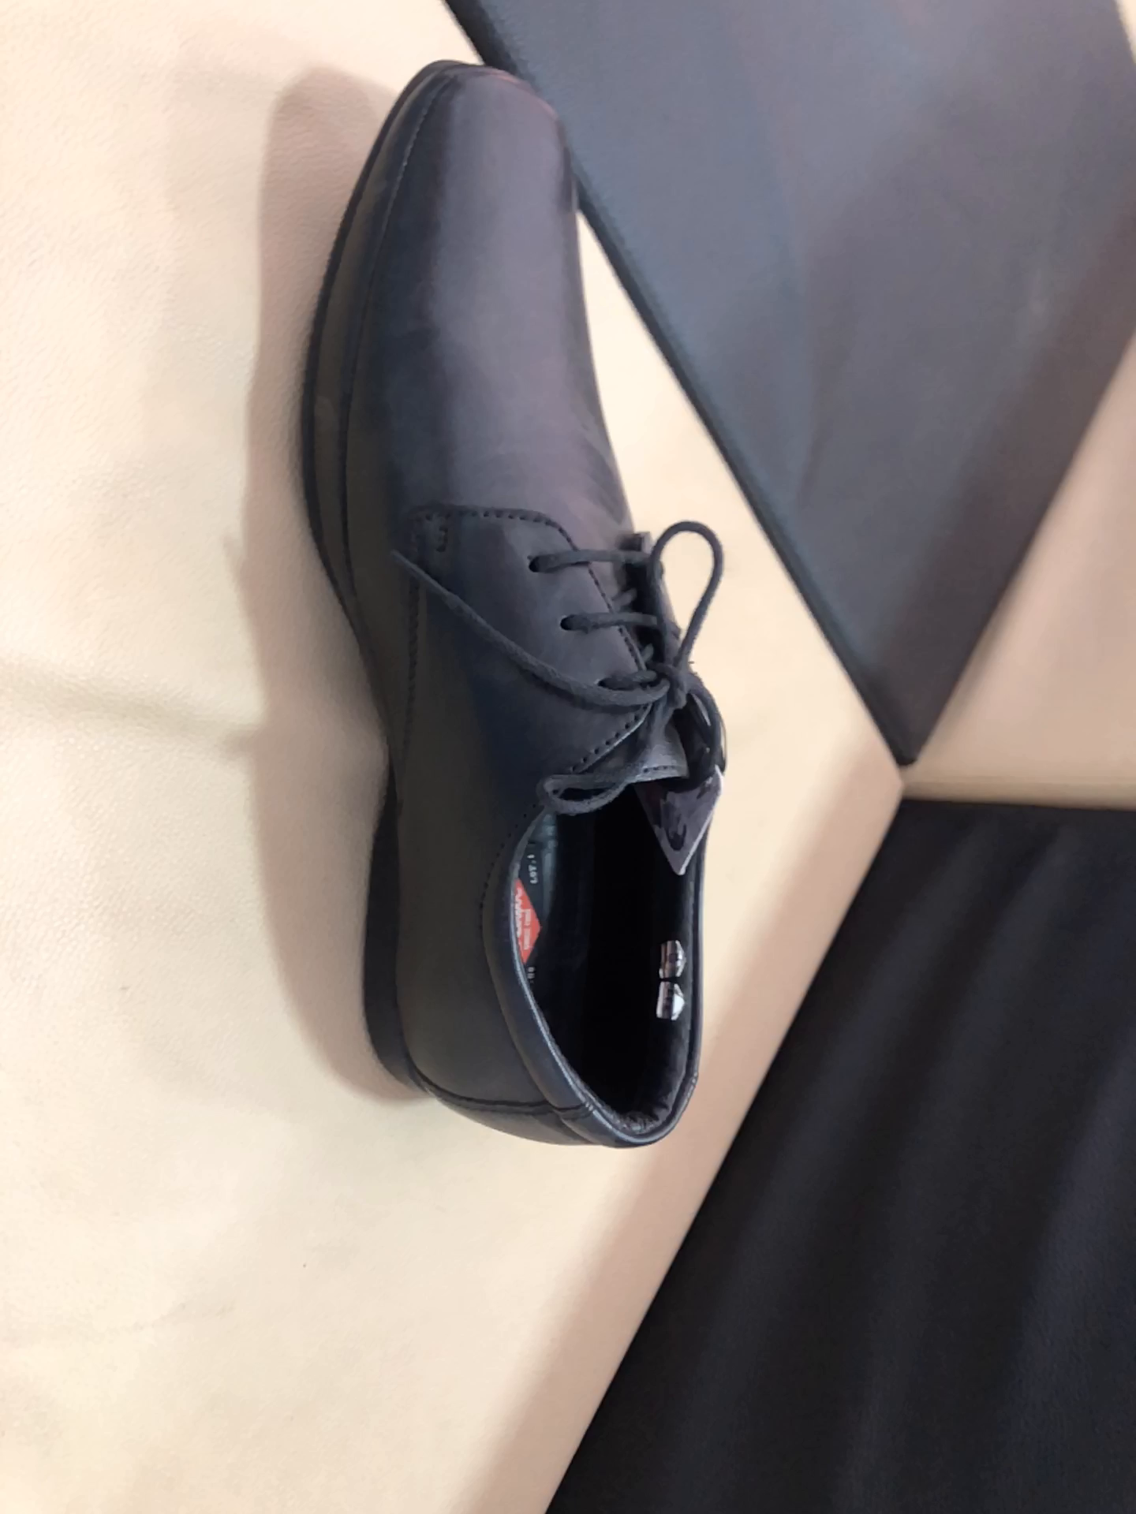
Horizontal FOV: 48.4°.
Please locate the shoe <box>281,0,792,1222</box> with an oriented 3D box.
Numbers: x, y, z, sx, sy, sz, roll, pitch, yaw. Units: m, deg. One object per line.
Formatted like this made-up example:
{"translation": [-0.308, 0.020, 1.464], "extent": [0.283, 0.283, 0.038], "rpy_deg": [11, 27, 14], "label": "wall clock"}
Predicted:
{"translation": [-0.006, -0.042, 0.313], "extent": [0.091, 0.079, 0.270], "rpy_deg": [-4, 95, -43], "label": "shoe"}
